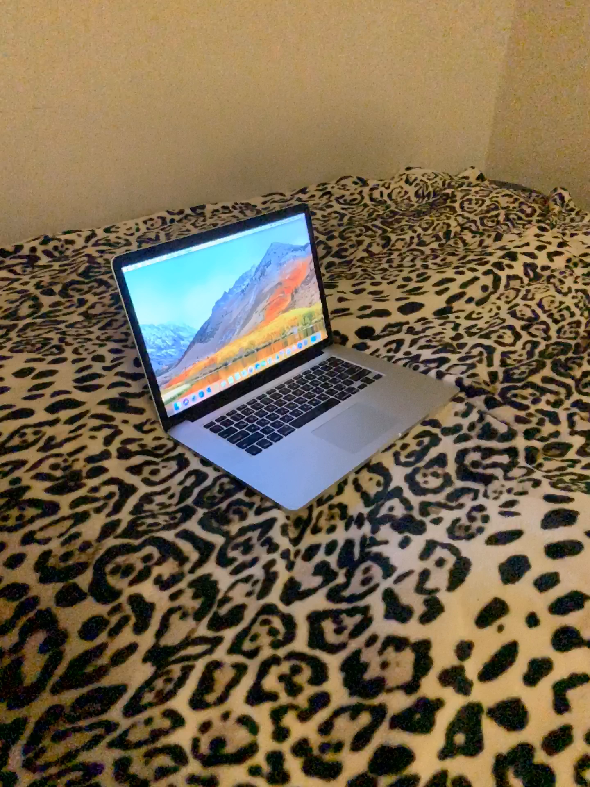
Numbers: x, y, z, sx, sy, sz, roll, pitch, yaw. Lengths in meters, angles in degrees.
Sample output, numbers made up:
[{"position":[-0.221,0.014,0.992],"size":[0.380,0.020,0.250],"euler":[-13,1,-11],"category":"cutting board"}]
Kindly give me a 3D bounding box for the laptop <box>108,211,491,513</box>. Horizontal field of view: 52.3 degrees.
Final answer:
[{"position":[0.010,-0.075,0.790],"size":[0.300,0.222,0.350],"euler":[26,41,37],"category":"laptop"}]
